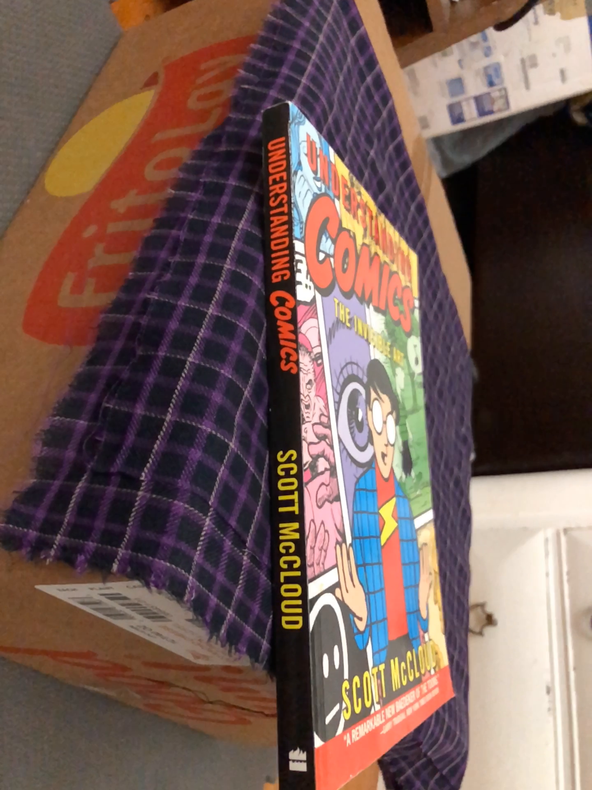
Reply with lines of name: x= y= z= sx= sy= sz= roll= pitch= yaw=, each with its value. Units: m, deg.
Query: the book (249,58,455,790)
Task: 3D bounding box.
book: x=0.032 y=0.016 z=0.308 sx=0.171 sy=0.020 sz=0.270 roll=24 pitch=61 yaw=-61
